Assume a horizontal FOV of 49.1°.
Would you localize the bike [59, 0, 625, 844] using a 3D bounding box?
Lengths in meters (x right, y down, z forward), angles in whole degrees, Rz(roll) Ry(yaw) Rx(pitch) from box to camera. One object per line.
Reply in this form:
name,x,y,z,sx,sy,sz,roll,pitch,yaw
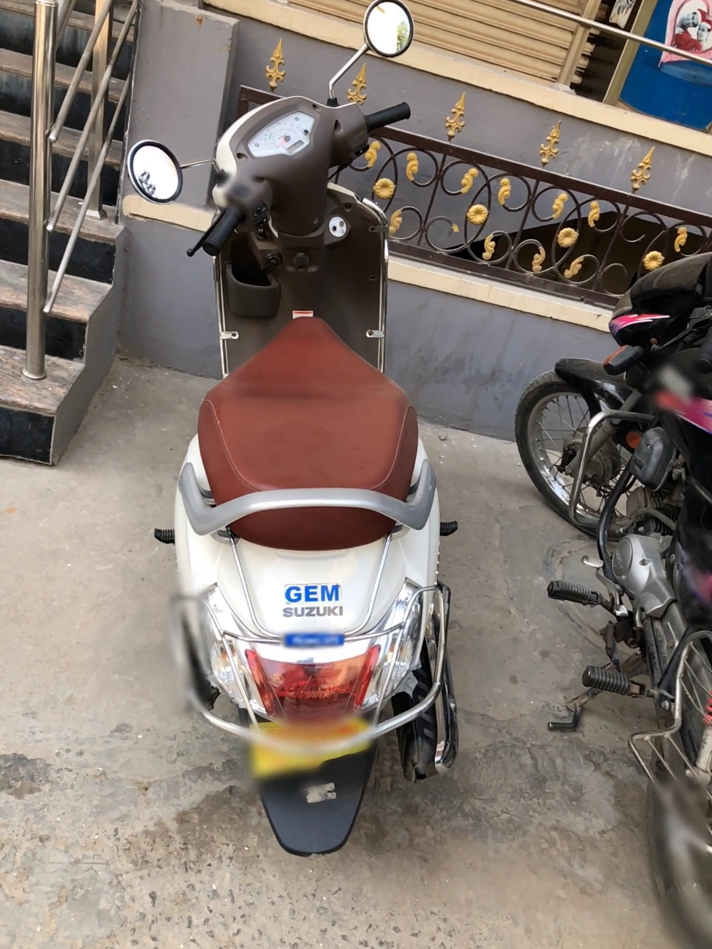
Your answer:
bike,-0.208,-0.255,1.763,0.597,1.194,1.493,7,35,-16
